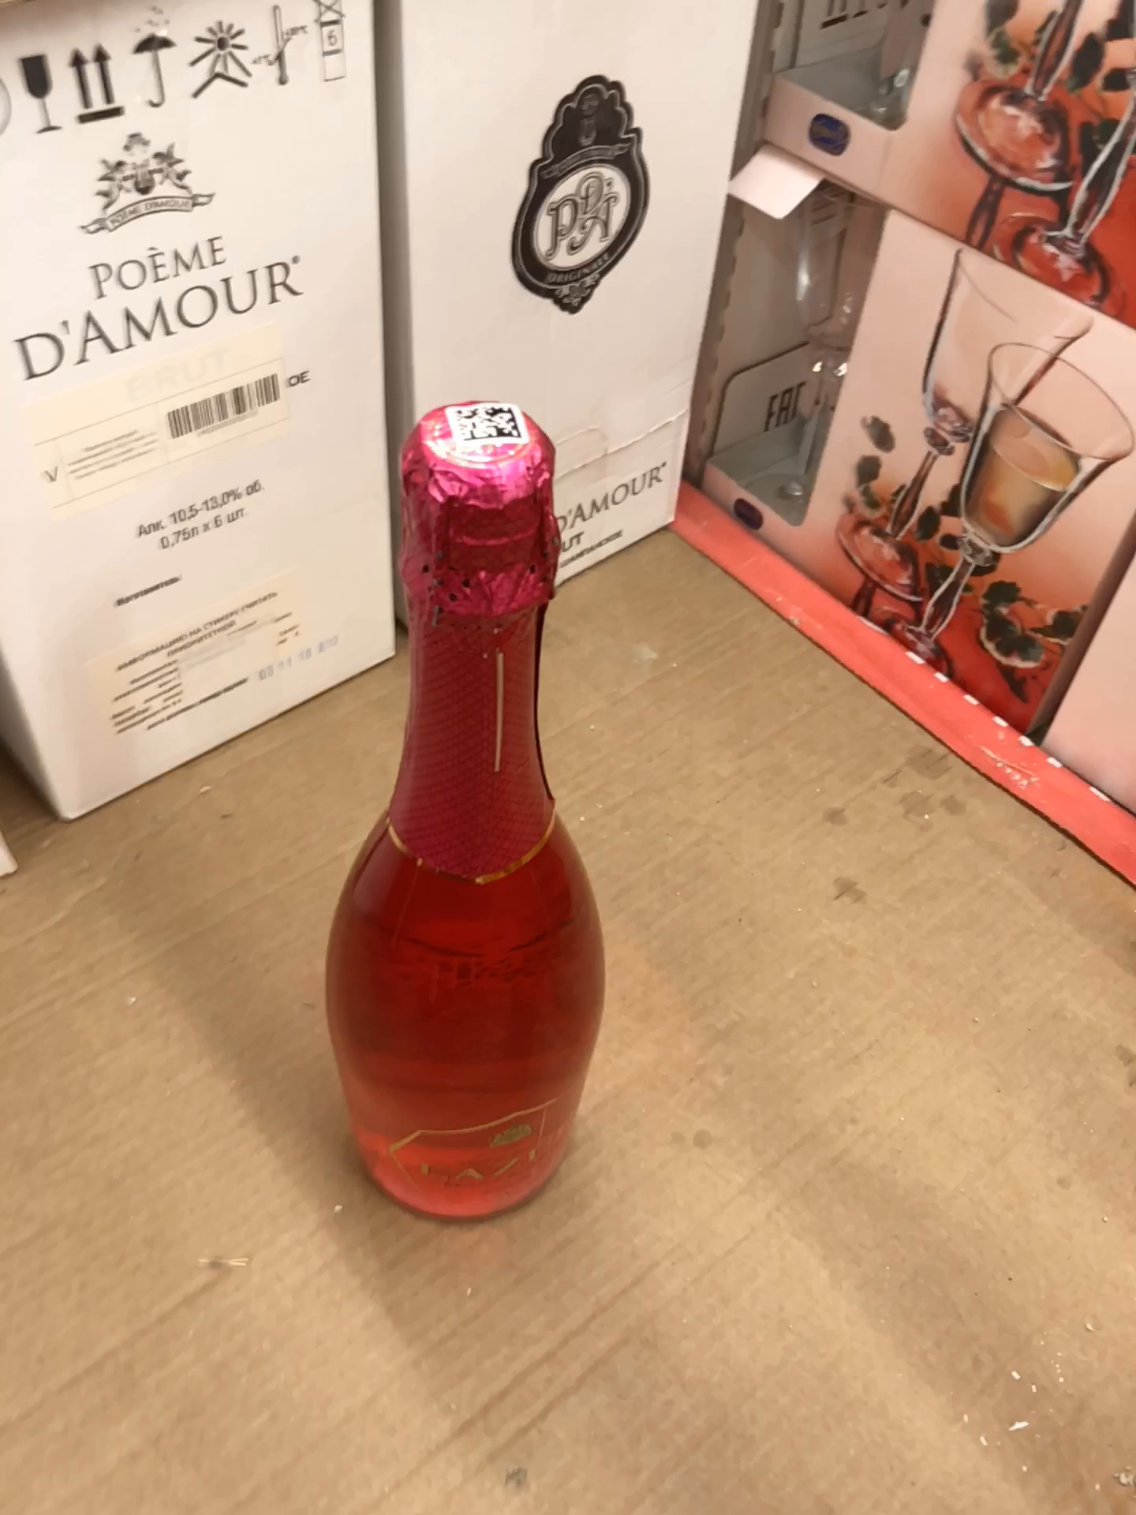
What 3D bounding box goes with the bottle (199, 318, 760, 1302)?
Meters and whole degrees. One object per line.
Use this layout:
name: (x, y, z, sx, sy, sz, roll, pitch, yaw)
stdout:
bottle: (-0.033, 0.046, 0.374, 0.090, 0.320, 0.090, 3, 47, -3)
